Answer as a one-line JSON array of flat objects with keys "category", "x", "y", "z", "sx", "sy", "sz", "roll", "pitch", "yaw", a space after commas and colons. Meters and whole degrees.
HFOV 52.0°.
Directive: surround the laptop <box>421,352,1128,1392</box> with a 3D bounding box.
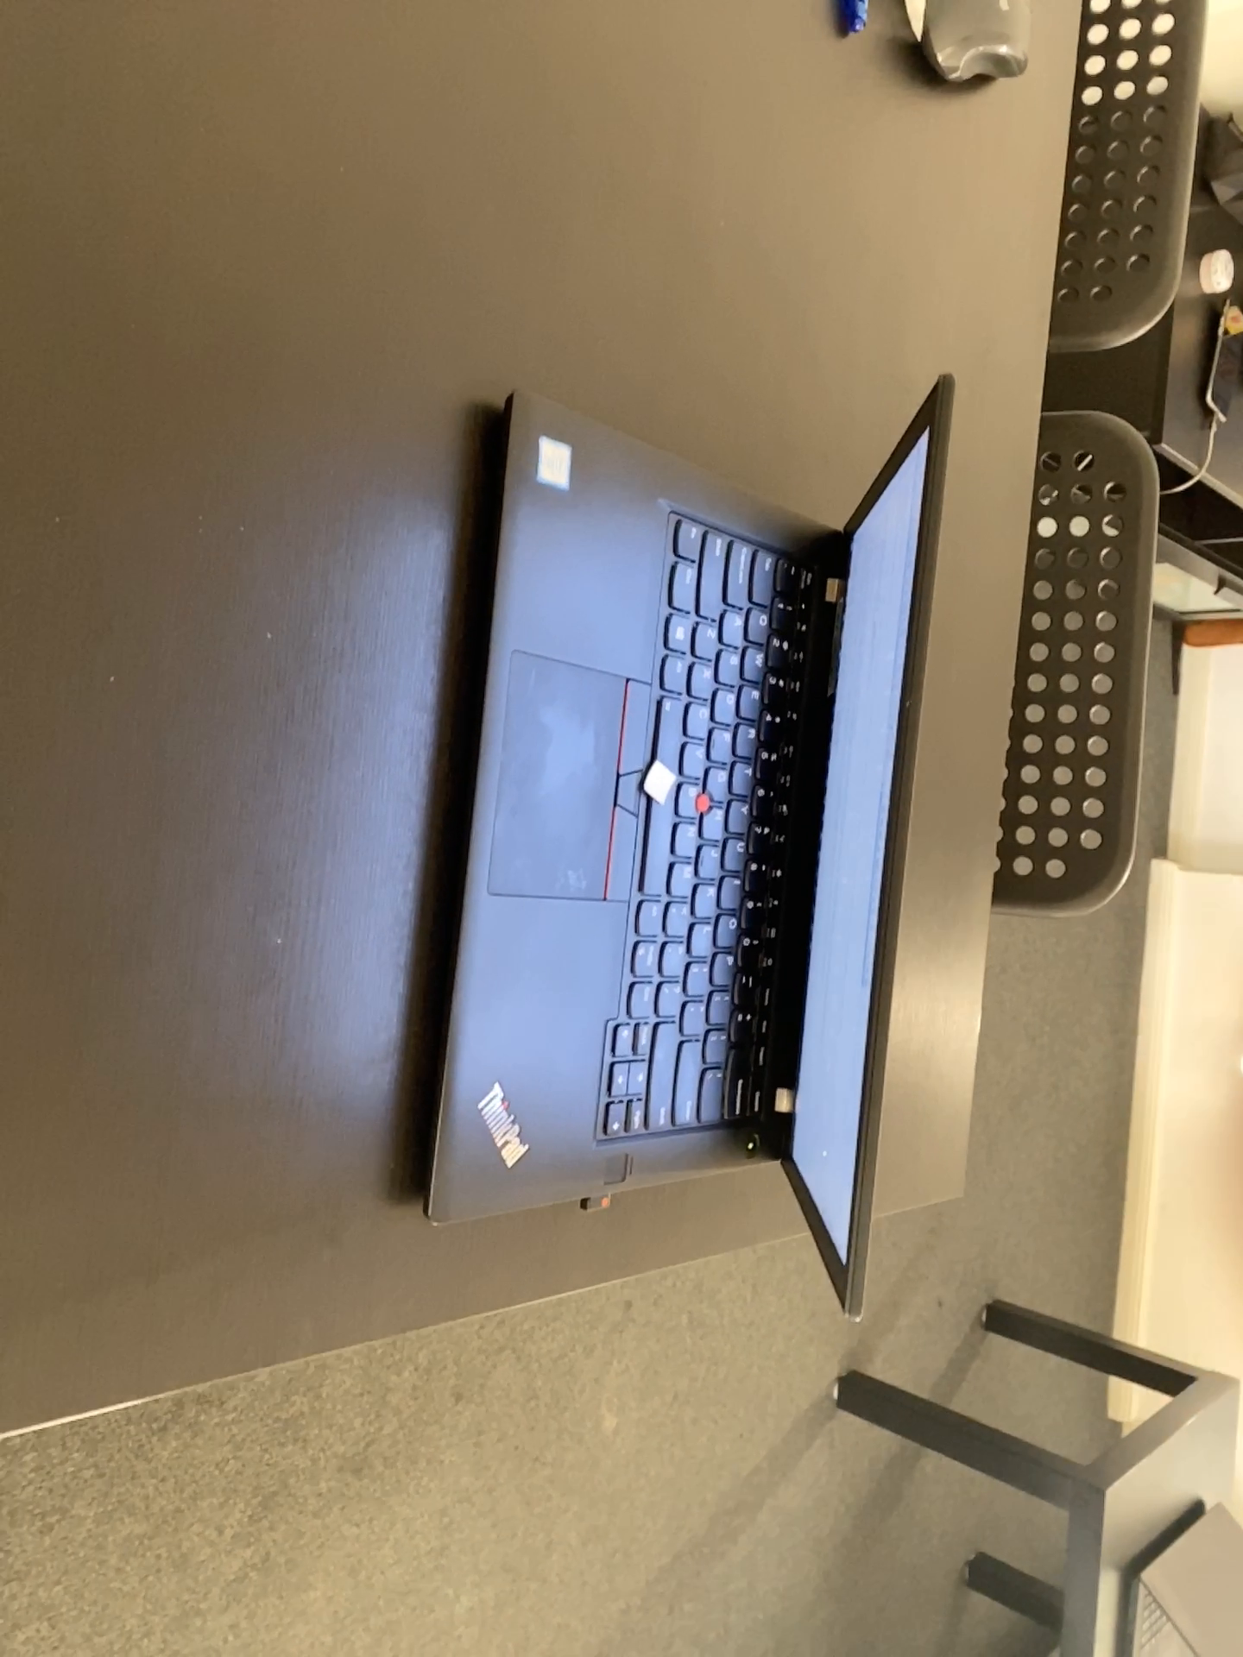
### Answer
[{"category": "laptop", "x": 0.067, "y": 0.015, "z": 0.489, "sx": 0.217, "sy": 0.138, "sz": 0.299, "roll": 5, "pitch": 90, "yaw": -46}]
